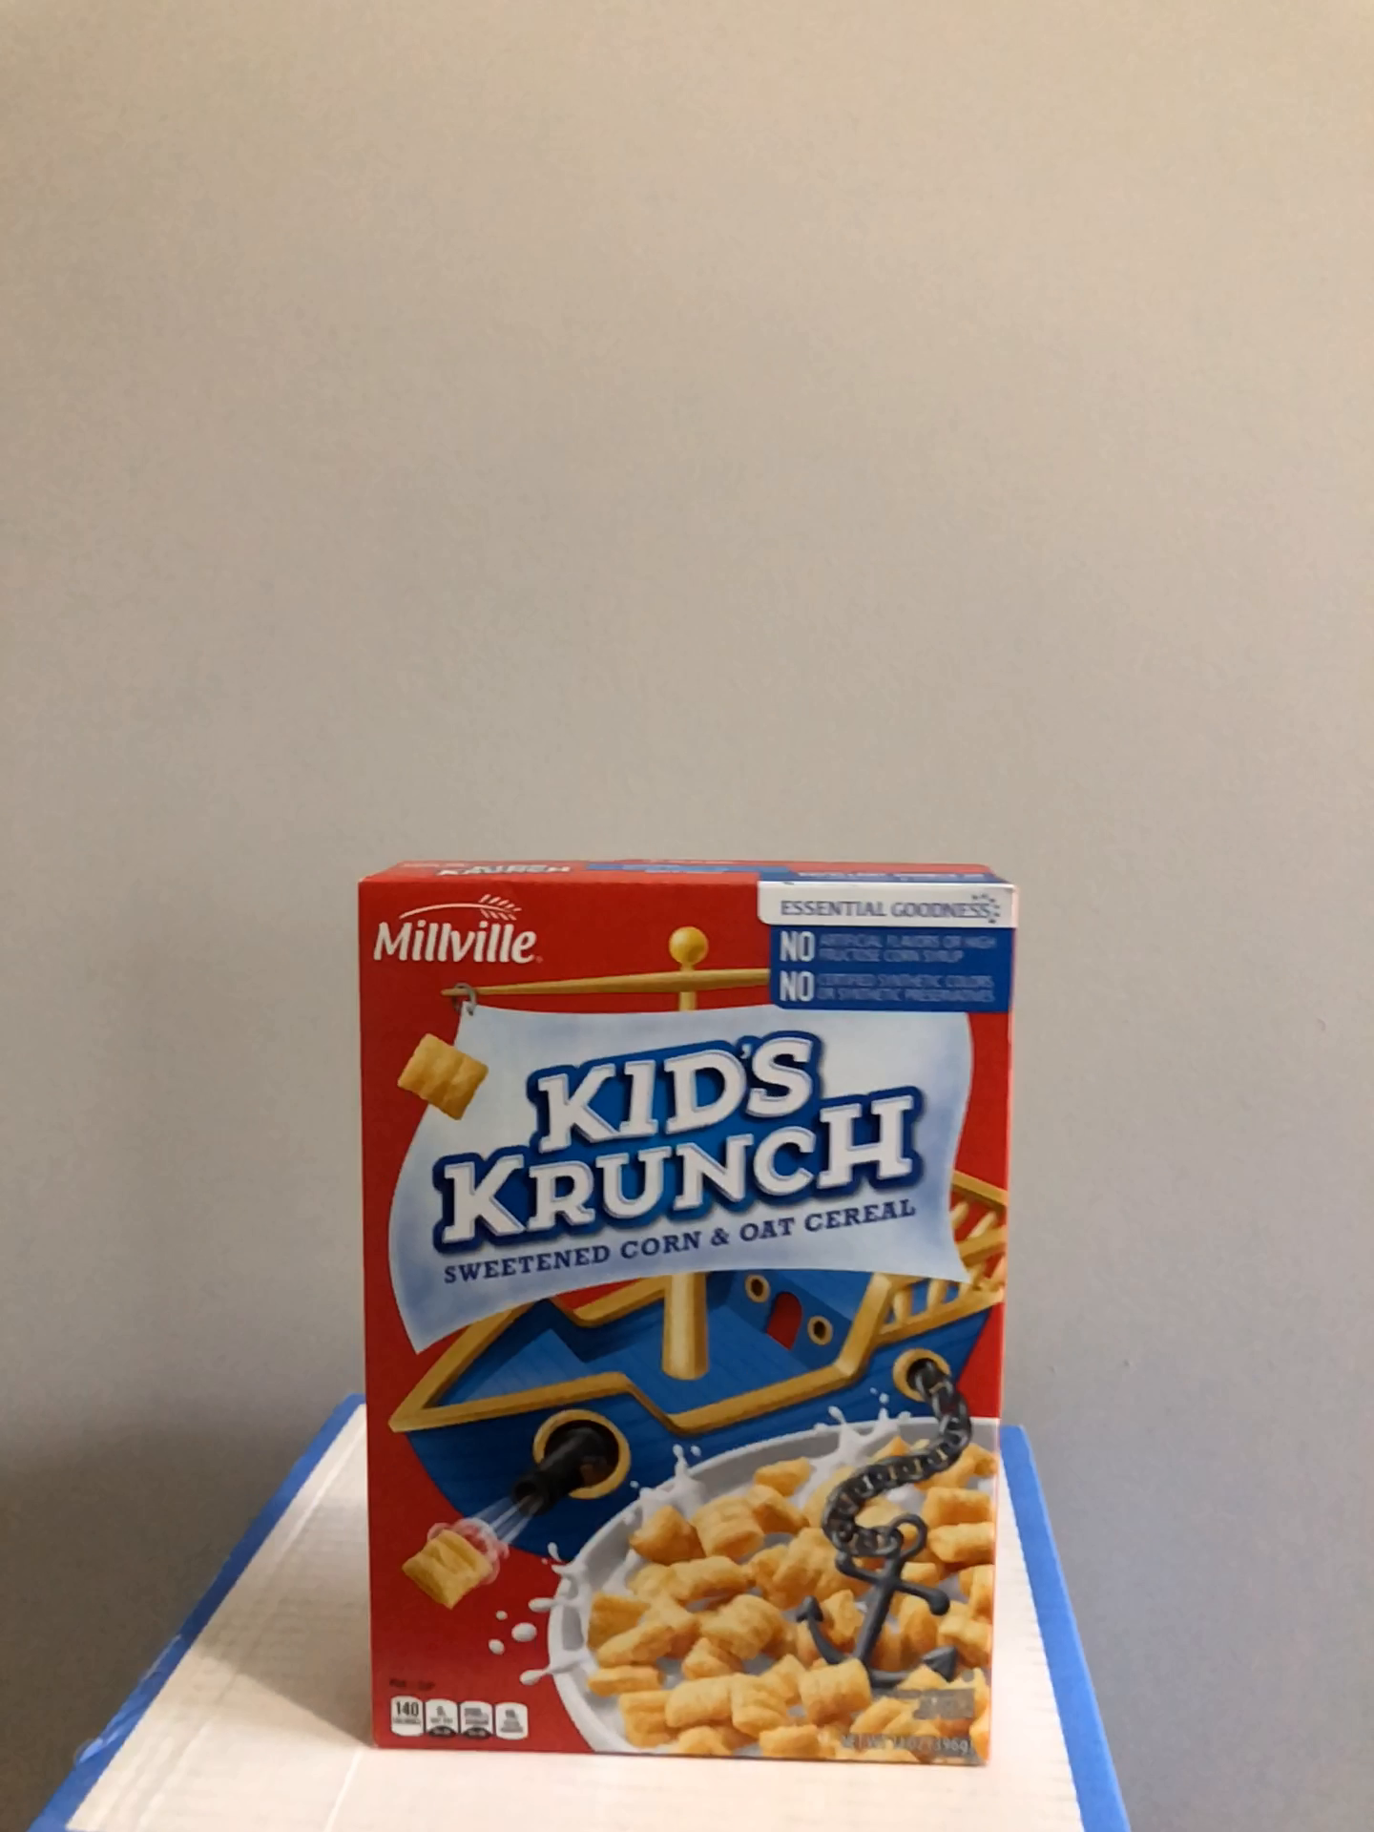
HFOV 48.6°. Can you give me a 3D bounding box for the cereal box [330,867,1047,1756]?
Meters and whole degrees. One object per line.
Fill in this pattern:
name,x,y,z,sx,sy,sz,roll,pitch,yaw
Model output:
cereal box,0.001,0.122,0.490,0.210,0.270,0.060,0,7,3
